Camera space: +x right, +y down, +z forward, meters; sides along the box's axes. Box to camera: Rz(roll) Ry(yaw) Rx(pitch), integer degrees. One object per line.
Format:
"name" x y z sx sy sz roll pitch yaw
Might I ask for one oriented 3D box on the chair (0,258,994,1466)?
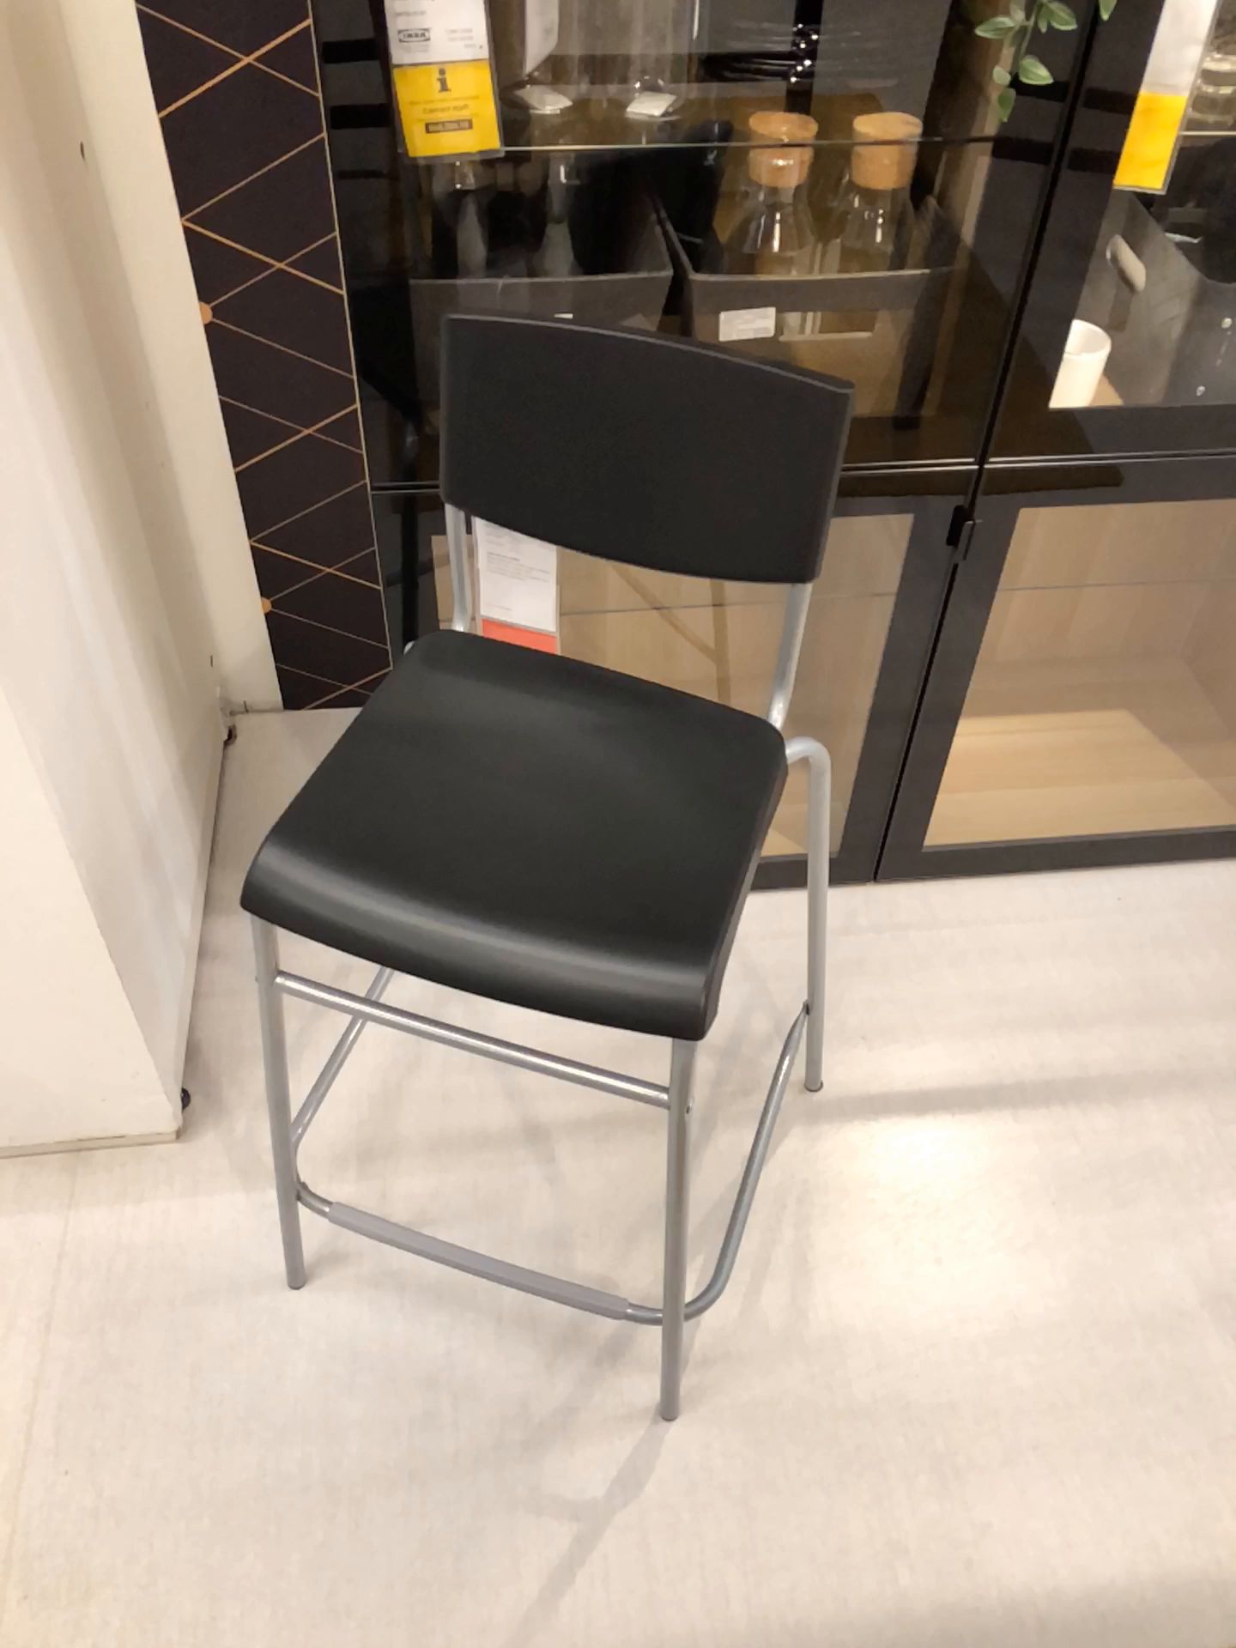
"chair" -0.086 0.059 1.105 0.540 0.765 0.483 15 48 12
